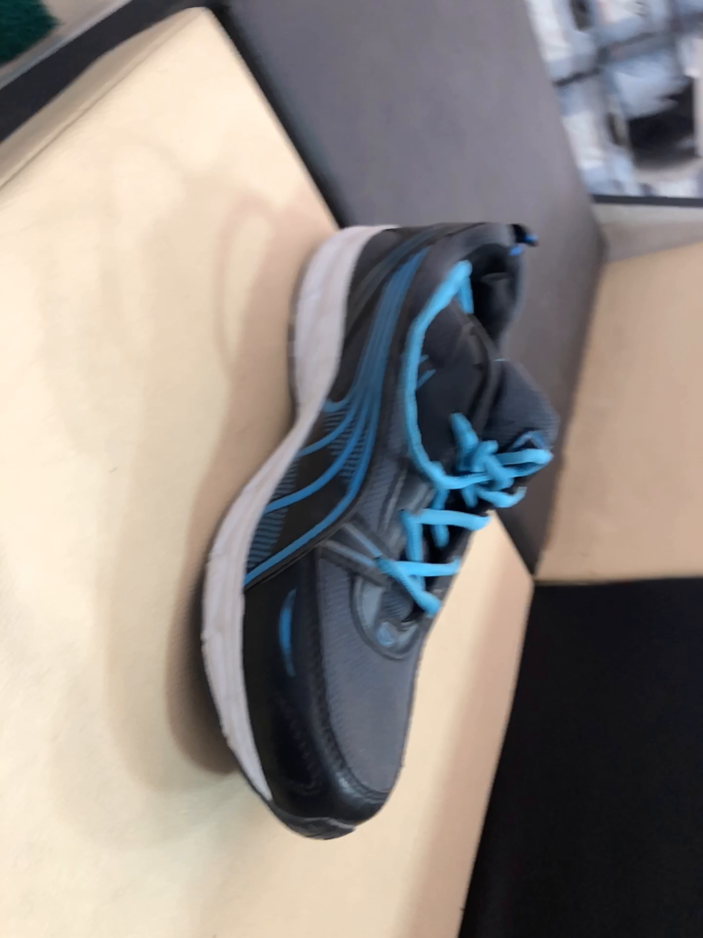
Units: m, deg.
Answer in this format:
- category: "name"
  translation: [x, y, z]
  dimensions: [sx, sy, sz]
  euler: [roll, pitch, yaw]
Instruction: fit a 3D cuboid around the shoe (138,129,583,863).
- category: "shoe"
  translation: [0.023, 0.004, 0.333]
  dimensions: [0.101, 0.099, 0.270]
  euler: [43, 51, -45]
